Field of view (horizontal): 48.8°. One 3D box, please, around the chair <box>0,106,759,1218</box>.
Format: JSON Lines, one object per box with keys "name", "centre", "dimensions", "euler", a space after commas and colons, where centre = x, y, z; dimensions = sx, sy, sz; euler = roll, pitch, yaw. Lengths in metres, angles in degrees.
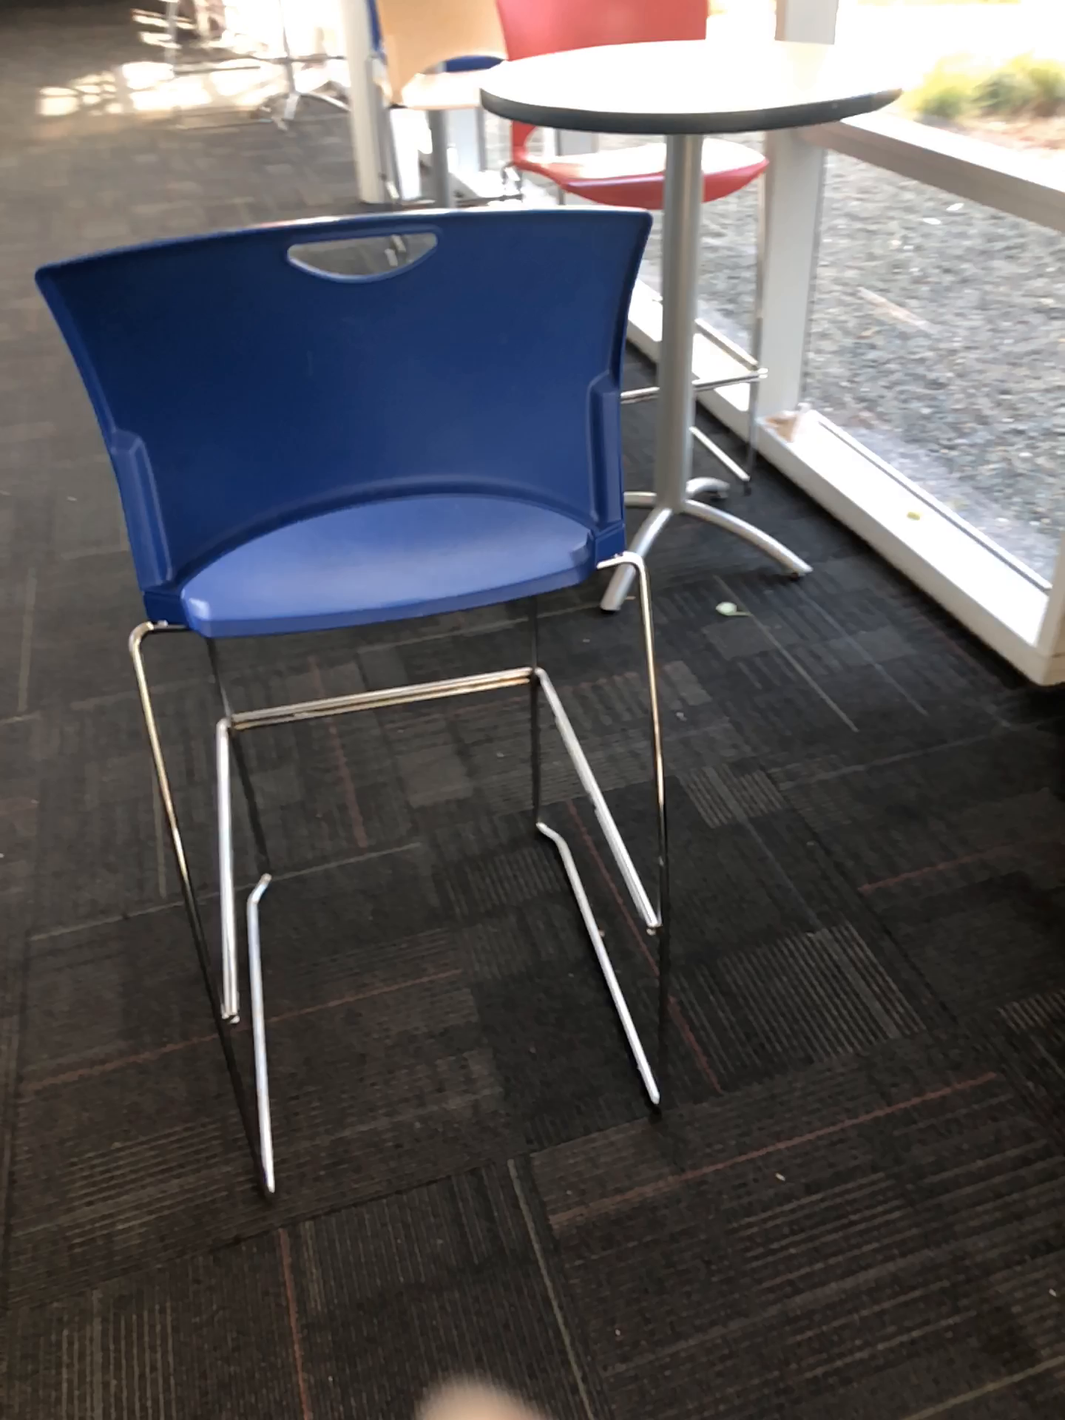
{"name": "chair", "centre": [-0.154, -0.058, 1.282], "dimensions": [0.550, 0.965, 0.613], "euler": [-9, 35, -8]}
